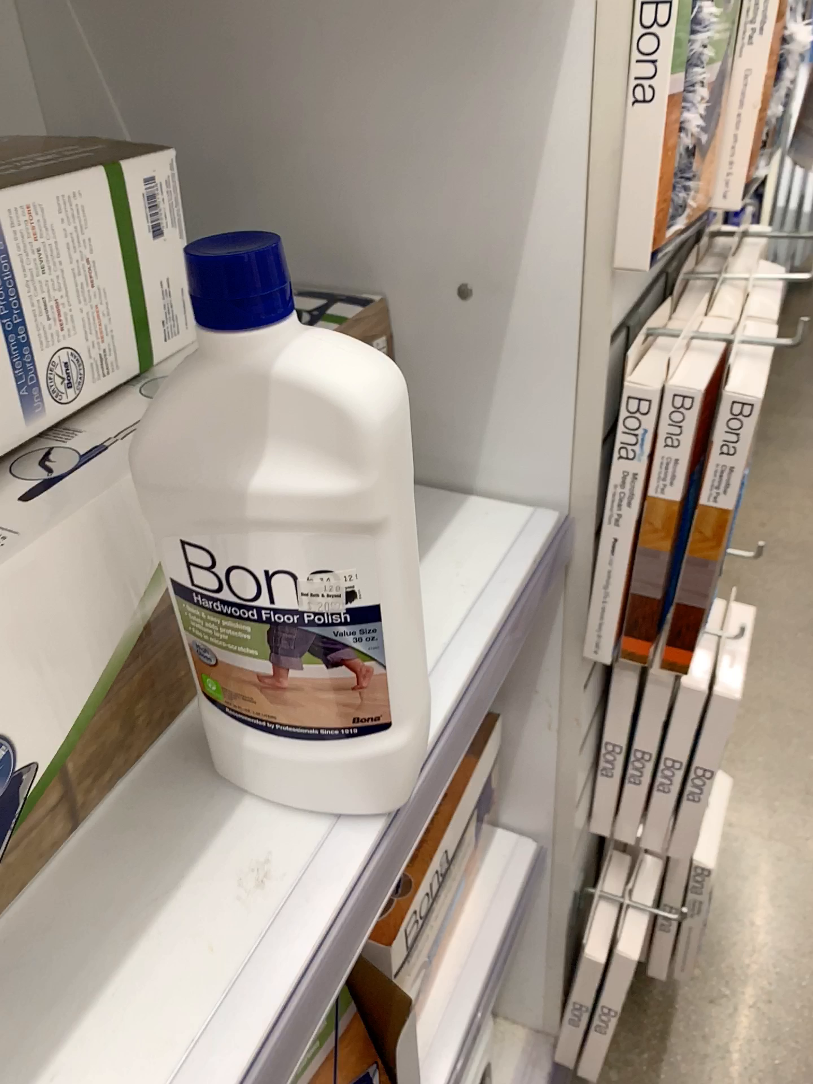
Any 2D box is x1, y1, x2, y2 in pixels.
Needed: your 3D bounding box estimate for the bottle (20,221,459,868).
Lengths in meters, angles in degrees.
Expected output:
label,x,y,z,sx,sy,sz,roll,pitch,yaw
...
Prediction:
label,x,y,z,sx,sy,sz,roll,pitch,yaw
bottle,-0.046,0.012,0.345,0.120,0.259,0.070,6,34,14
